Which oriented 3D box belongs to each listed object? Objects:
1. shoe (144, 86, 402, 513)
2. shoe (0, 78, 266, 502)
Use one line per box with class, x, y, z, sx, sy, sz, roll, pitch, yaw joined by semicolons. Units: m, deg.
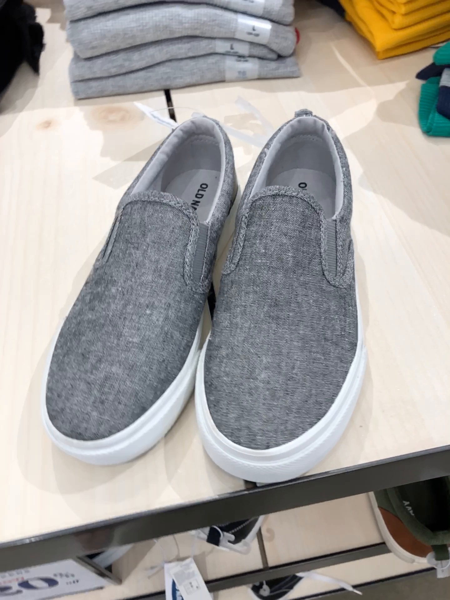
shoe;0.037;-0.013;0.275;0.090;0.100;0.210;5;54;10
shoe;-0.046;-0.018;0.282;0.090;0.100;0.210;10;55;14
